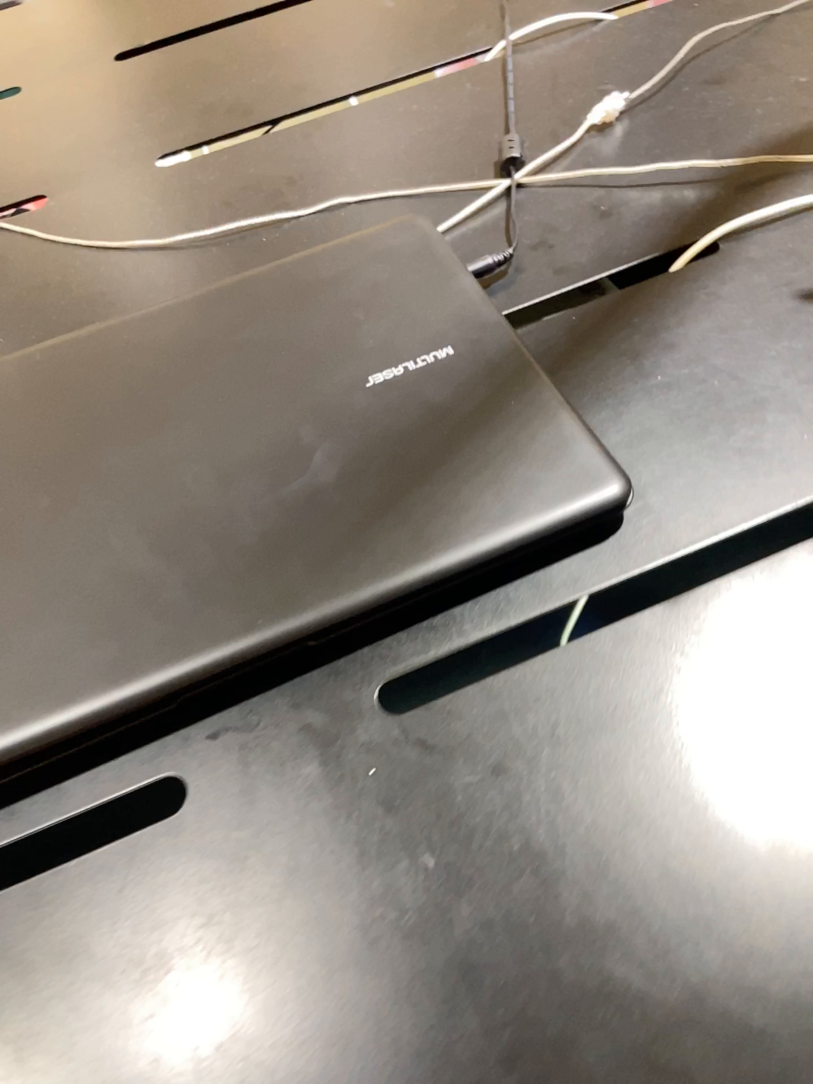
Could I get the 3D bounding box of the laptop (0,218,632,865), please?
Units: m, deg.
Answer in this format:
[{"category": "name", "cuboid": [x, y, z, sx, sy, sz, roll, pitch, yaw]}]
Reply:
[{"category": "laptop", "cuboid": [-0.104, -0.033, 0.354, 0.324, 0.001, 0.211, -22, 54, -9]}]
